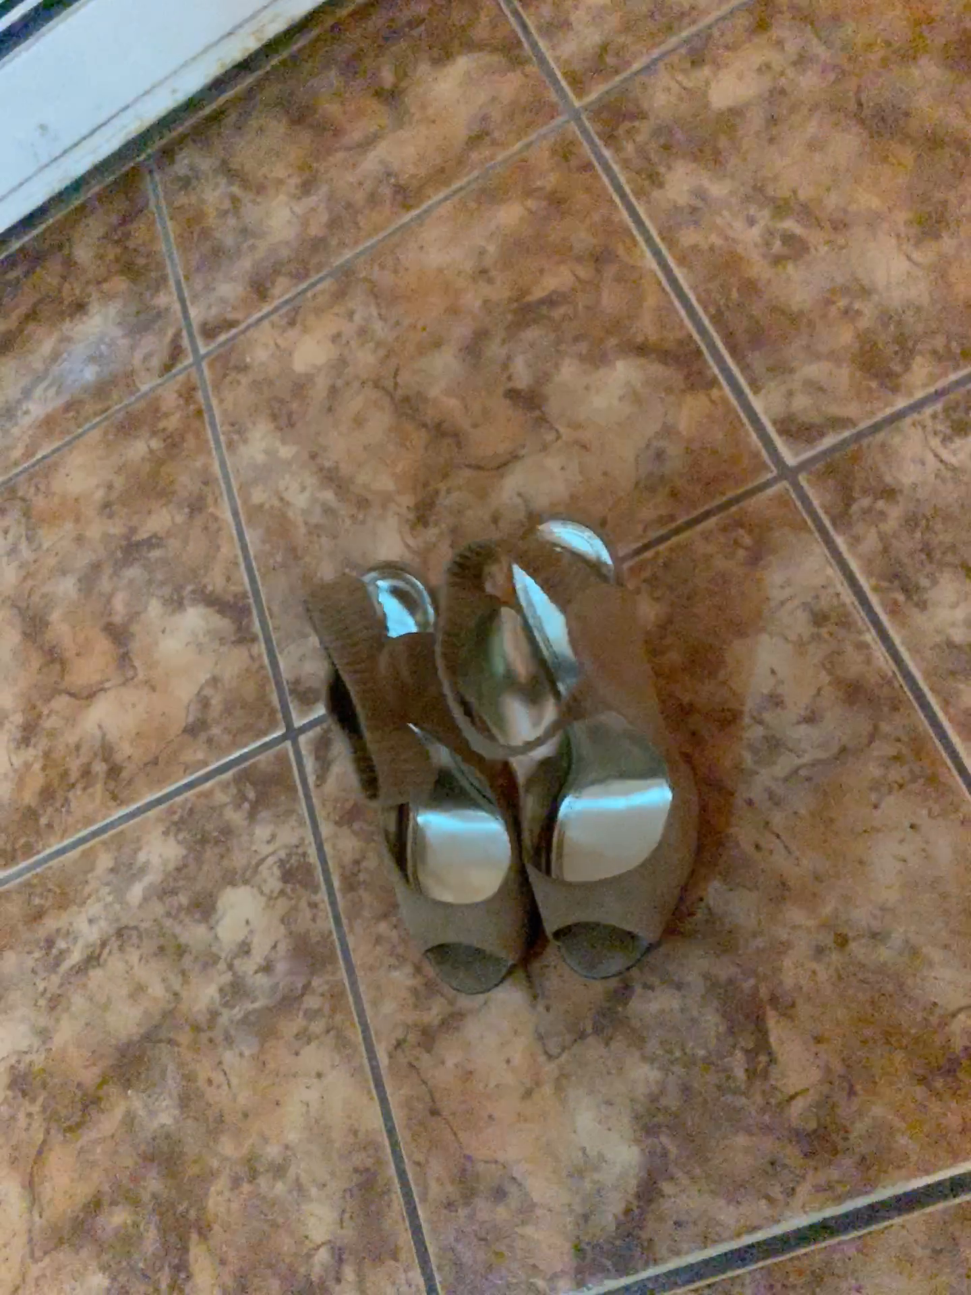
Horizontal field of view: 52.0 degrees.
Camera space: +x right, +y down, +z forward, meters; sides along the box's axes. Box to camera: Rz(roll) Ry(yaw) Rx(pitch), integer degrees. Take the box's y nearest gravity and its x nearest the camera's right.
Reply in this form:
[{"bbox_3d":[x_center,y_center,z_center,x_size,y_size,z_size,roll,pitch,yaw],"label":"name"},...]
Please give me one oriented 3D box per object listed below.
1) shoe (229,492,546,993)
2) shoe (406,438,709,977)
[{"bbox_3d":[-0.035,0.055,0.491,0.081,0.140,0.209,-6,67,23],"label":"shoe"},{"bbox_3d":[0.042,0.038,0.457,0.081,0.150,0.205,-6,67,23],"label":"shoe"}]
